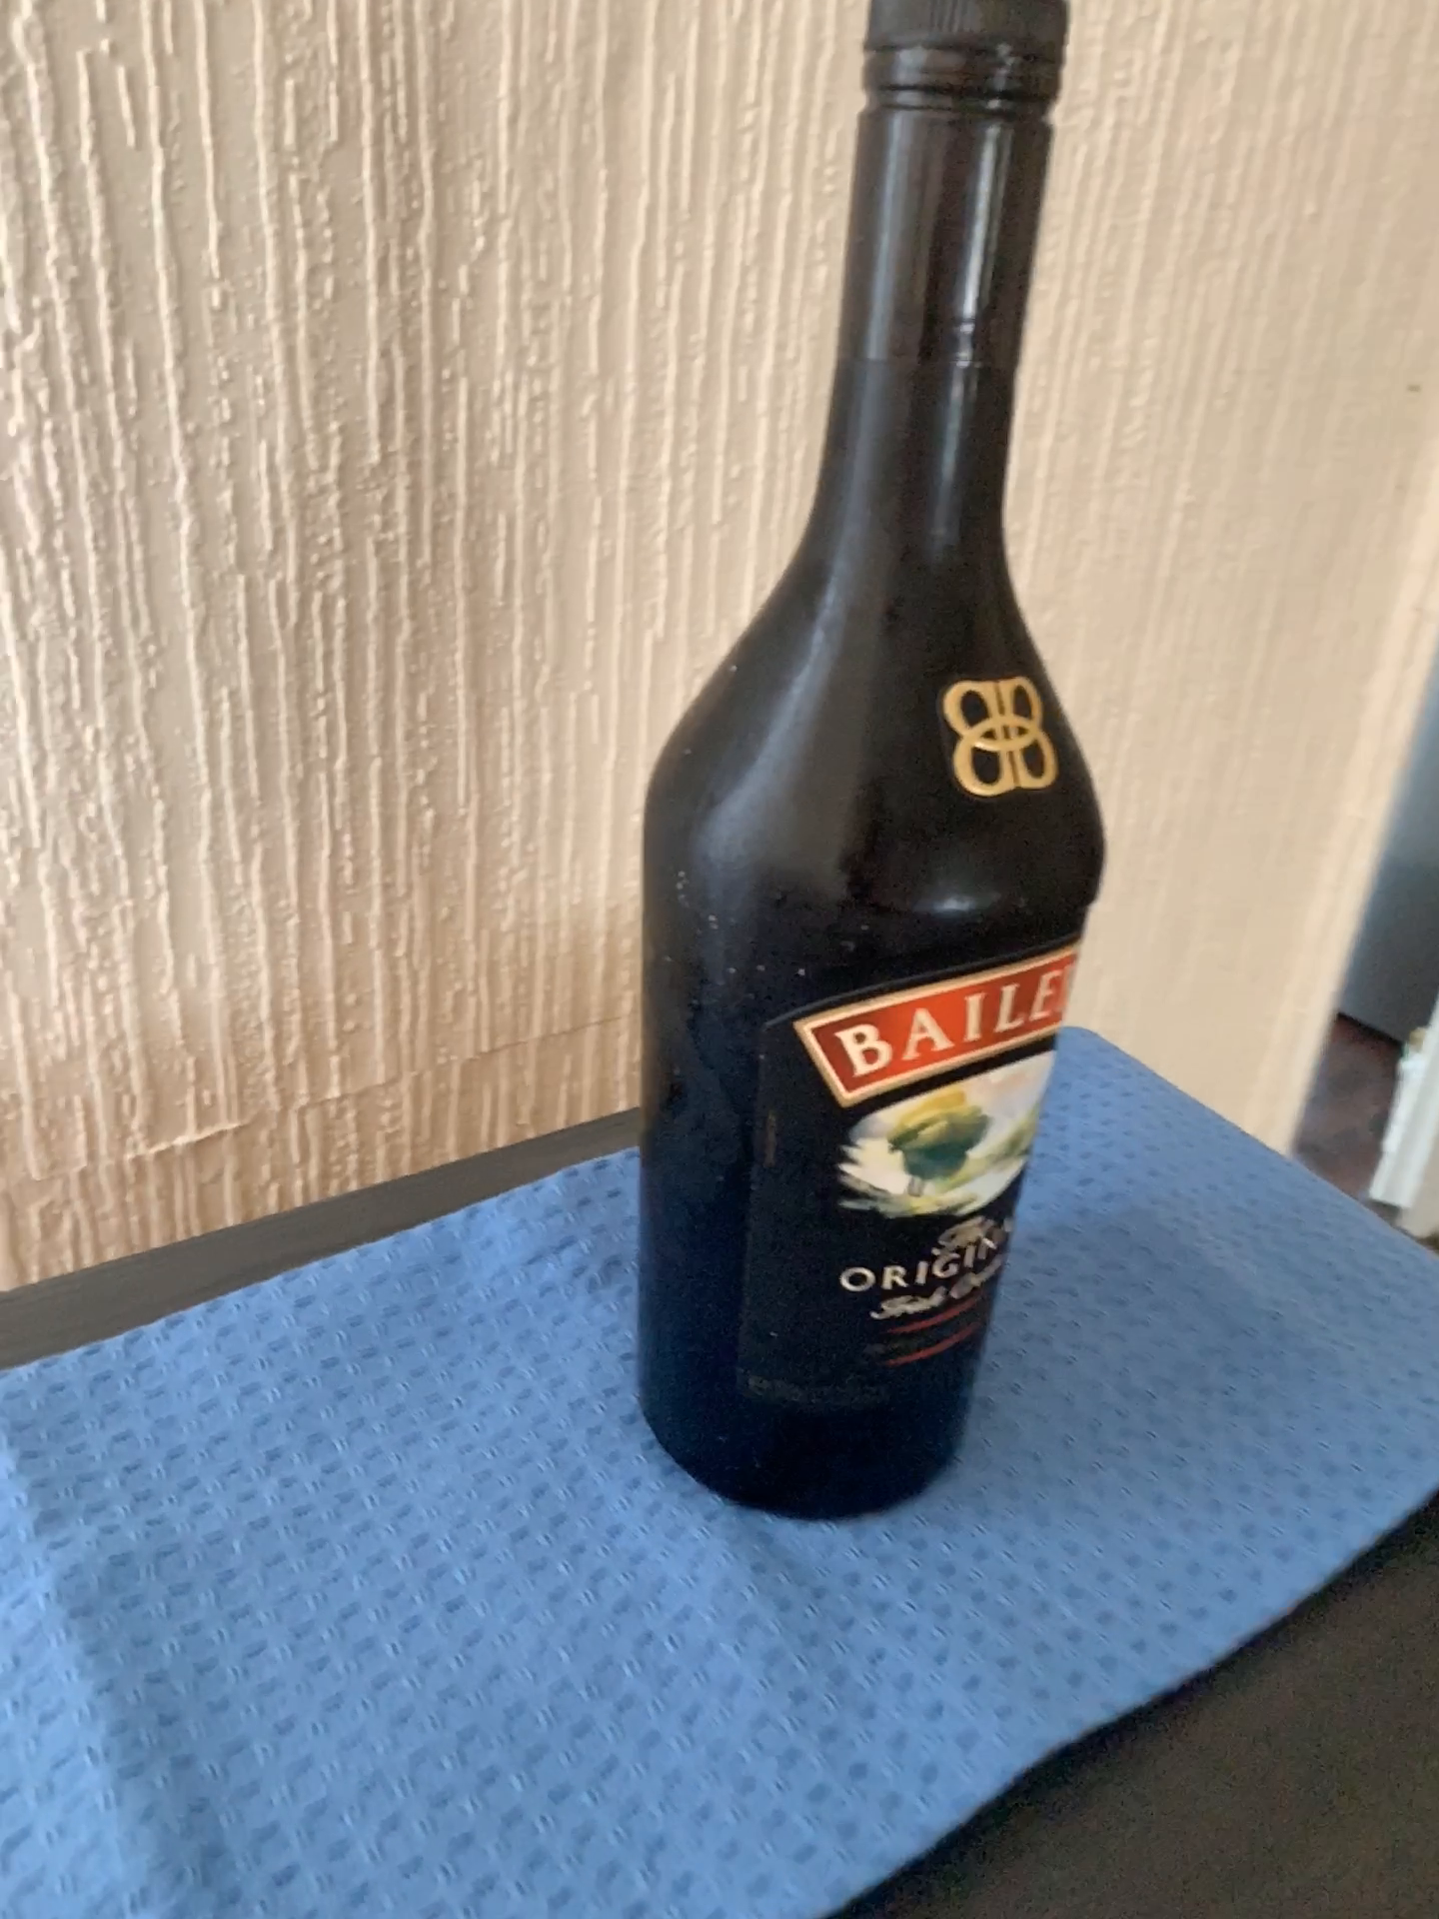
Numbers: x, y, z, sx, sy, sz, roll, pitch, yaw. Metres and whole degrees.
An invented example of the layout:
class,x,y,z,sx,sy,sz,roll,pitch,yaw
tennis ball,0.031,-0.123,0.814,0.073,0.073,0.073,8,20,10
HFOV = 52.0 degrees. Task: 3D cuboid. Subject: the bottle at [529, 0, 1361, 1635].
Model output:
class,x,y,z,sx,sy,sz,roll,pitch,yaw
bottle,0.024,-0.020,0.274,0.090,0.287,0.070,-14,32,-33
